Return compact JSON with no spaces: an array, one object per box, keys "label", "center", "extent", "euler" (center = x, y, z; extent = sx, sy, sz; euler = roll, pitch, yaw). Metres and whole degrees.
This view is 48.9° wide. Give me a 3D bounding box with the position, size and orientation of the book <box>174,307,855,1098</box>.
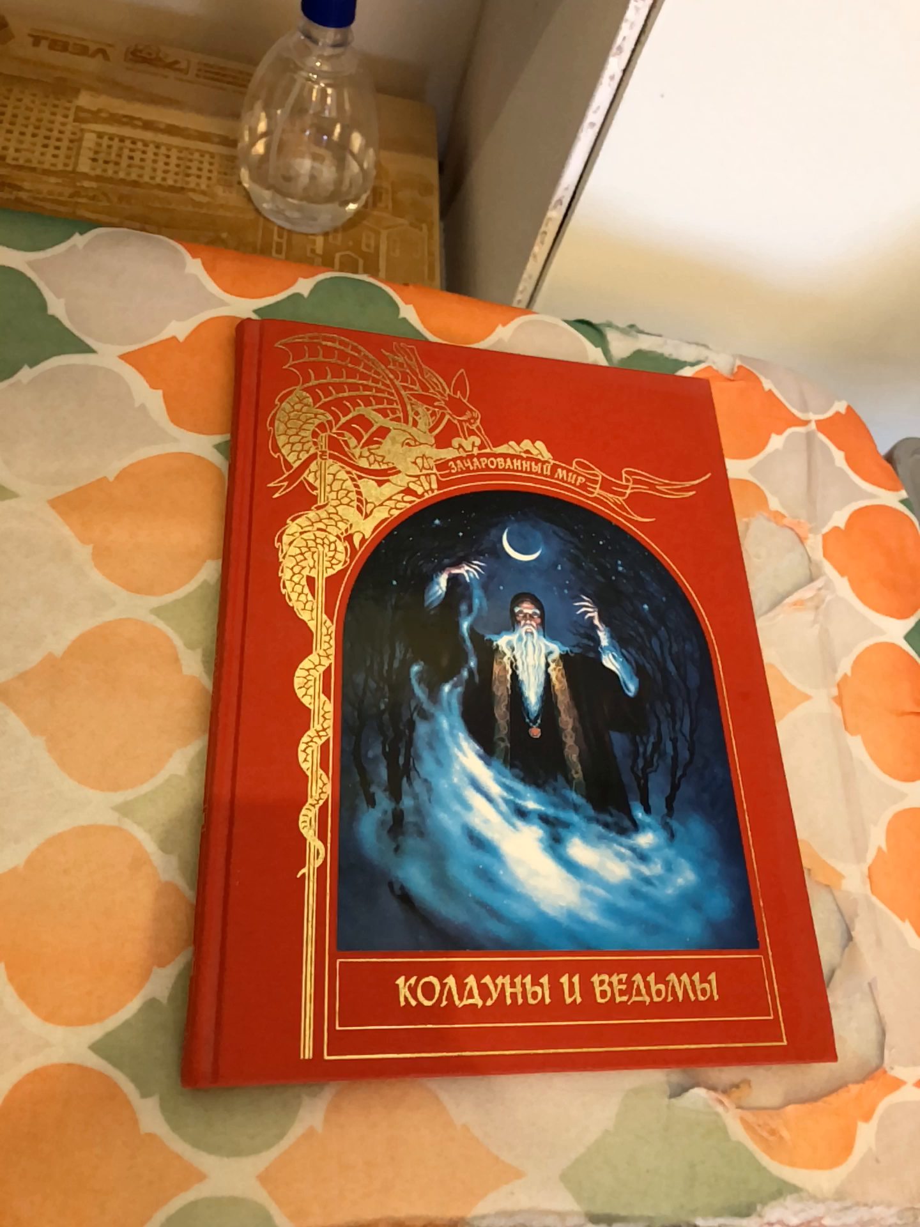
[{"label":"book","center":[0.016,0.016,0.381],"extent":[0.215,0.020,0.291],"euler":[4,62,-14]}]
